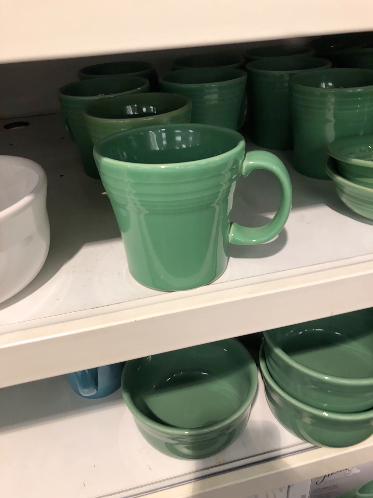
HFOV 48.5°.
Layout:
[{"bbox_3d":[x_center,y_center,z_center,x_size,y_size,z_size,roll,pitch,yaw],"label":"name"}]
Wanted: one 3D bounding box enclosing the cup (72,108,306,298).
[{"bbox_3d":[0.003,-0.038,0.309,0.134,0.098,0.107,-2,34,2],"label":"cup"}]
